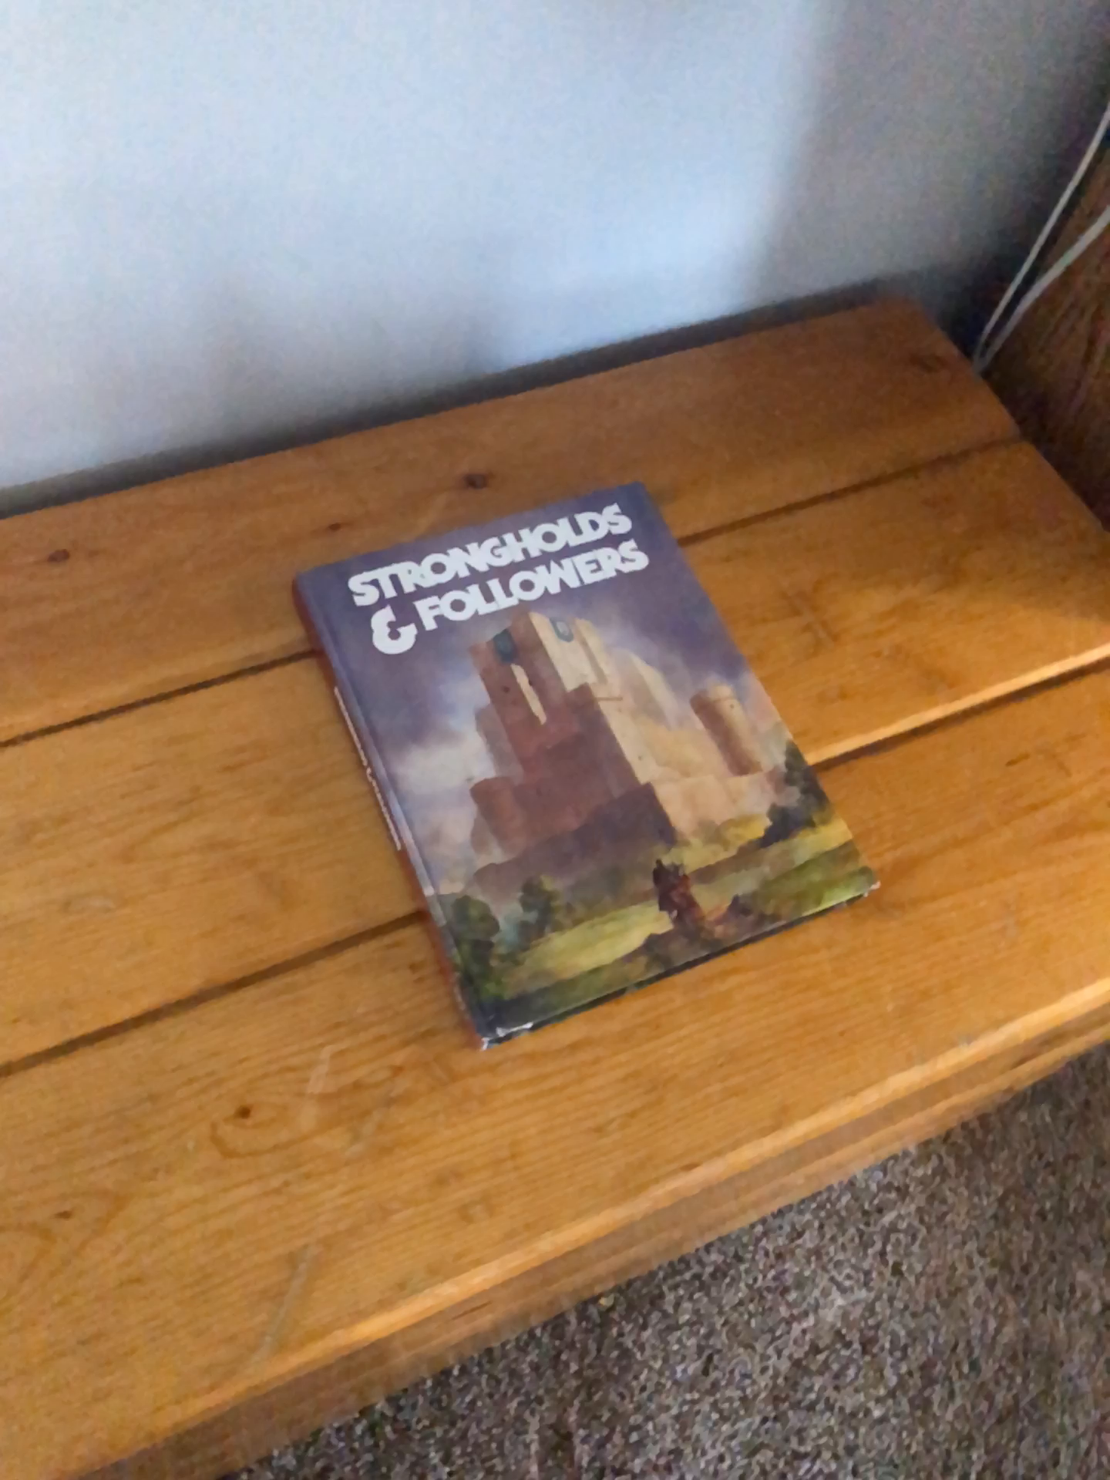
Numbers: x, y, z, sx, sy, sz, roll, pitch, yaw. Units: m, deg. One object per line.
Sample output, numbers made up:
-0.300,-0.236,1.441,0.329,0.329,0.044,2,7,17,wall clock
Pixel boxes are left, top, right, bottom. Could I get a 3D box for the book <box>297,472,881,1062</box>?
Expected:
0.009,-0.002,0.658,0.212,0.042,0.281,-18,64,-15,book
